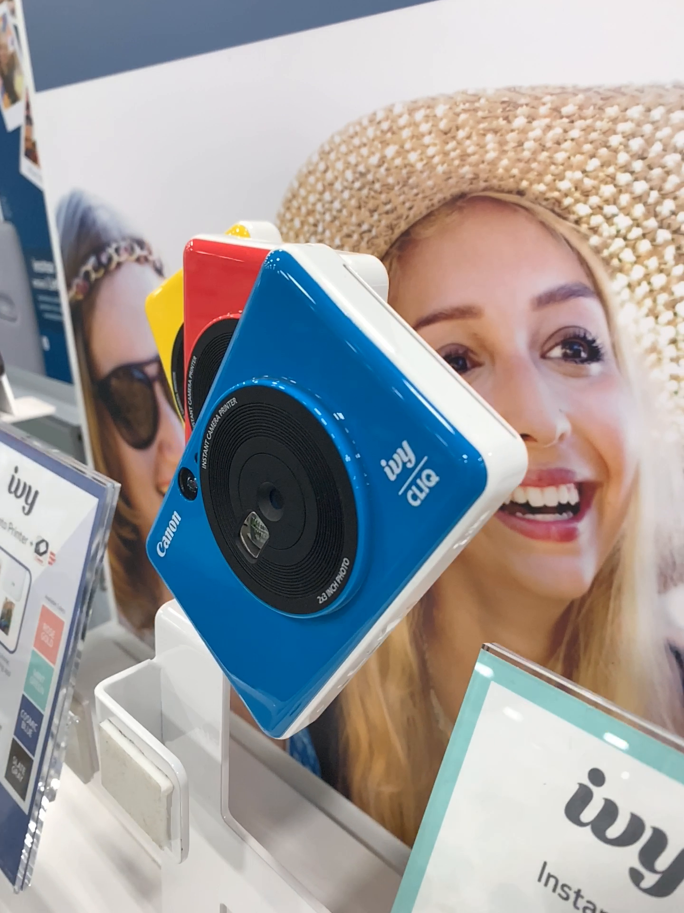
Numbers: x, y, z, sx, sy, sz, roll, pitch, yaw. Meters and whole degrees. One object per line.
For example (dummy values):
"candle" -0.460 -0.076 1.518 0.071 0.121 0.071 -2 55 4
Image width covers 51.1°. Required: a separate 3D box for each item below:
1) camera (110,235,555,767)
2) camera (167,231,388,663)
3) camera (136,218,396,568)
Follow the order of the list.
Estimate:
"camera" -0.014 0.015 0.184 0.030 0.113 0.078 -20 61 -45
"camera" -0.022 -0.006 0.234 0.030 0.123 0.067 -19 30 -39
"camera" -0.033 -0.020 0.286 0.030 0.123 0.068 -24 4 -37
